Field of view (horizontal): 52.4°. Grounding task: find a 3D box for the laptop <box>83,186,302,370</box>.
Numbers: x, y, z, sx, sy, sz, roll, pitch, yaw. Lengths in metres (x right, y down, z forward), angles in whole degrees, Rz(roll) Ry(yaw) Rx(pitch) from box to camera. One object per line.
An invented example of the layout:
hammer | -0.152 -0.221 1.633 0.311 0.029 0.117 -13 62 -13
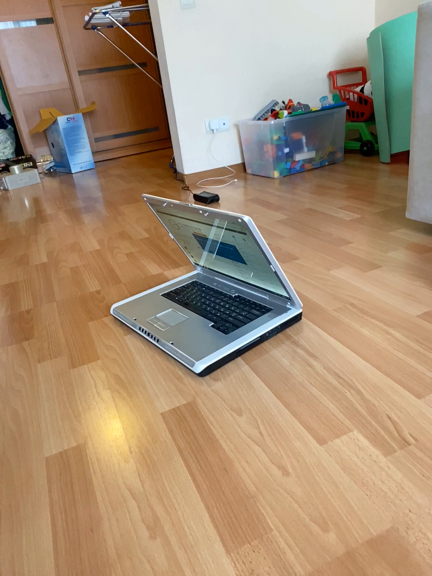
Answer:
laptop | -0.058 -0.058 0.960 0.274 0.238 0.388 -24 28 -32
